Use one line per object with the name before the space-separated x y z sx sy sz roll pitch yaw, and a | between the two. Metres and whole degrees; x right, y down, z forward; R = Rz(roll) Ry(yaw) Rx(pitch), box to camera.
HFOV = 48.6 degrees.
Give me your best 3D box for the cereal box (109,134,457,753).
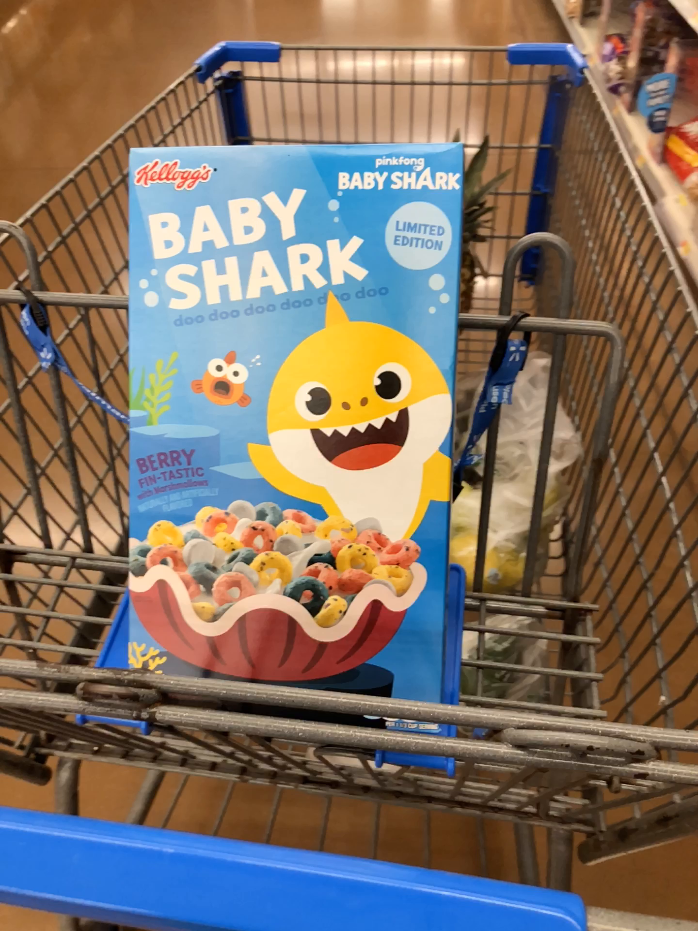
cereal box | -0.040 -0.013 0.469 0.190 0.340 0.070 3 7 7
